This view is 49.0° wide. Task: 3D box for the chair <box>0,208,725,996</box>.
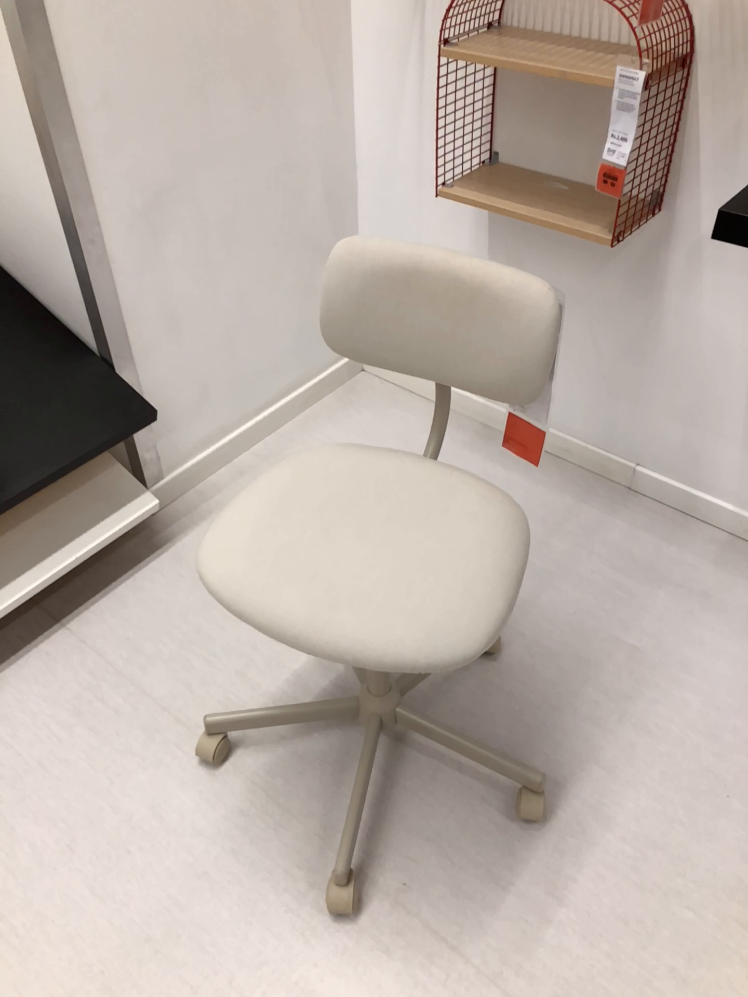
[{"bbox_3d":[0.031,0.127,1.218,0.641,0.765,0.693,17,46,20],"label":"chair"}]
